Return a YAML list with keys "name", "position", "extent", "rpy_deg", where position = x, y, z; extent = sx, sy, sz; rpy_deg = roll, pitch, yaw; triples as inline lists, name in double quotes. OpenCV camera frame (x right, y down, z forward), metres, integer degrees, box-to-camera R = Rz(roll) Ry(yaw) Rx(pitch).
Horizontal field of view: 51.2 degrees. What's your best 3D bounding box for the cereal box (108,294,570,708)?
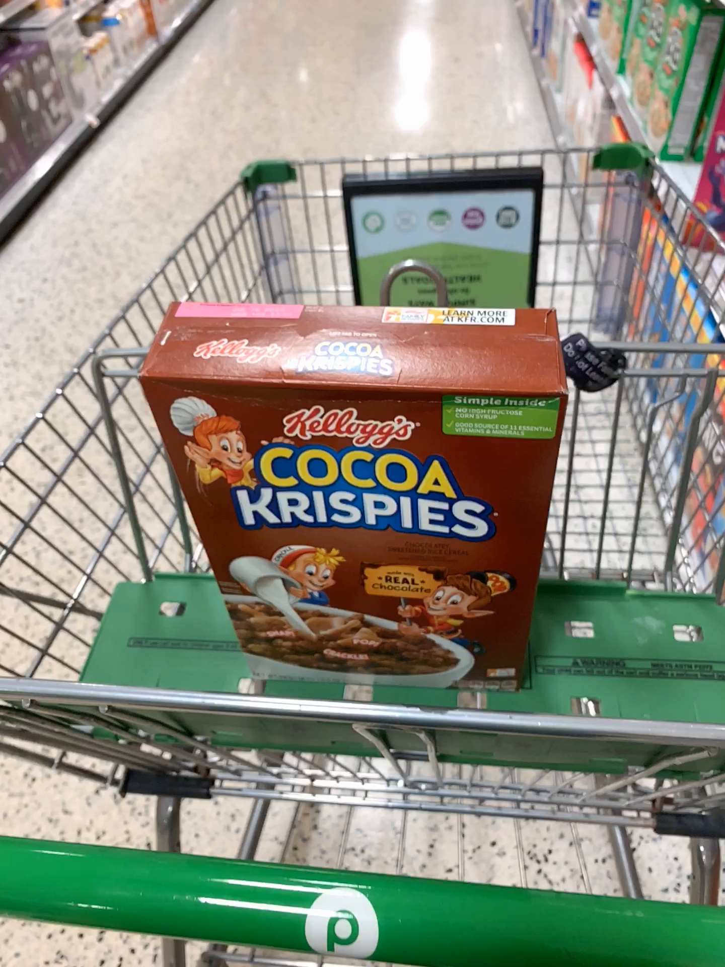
- name: "cereal box"
  position: [0.004, 0.033, 0.456]
  extent: [0.200, 0.307, 0.061]
  rpy_deg: [2, 50, 9]
